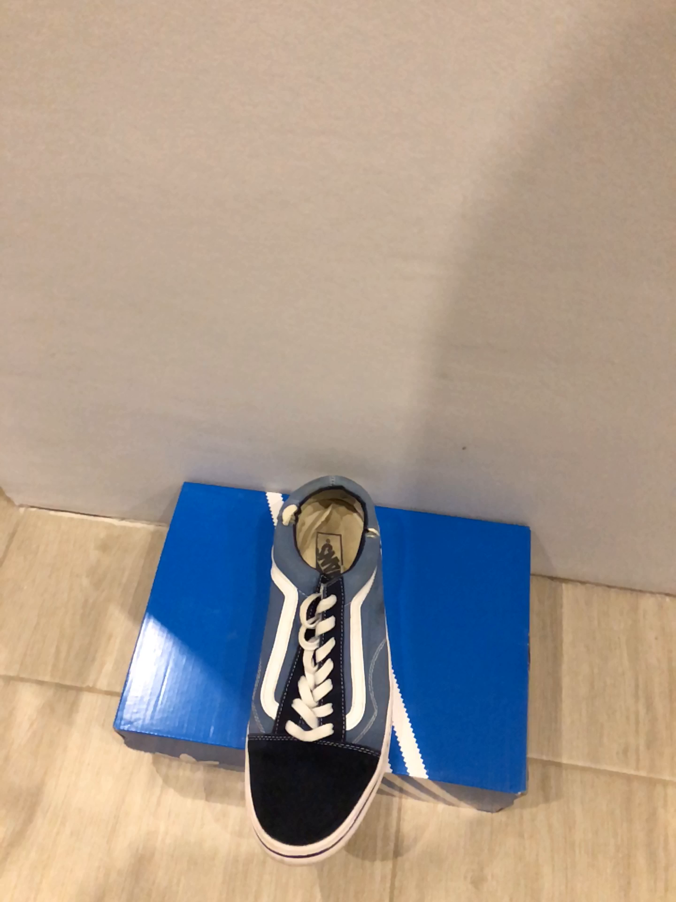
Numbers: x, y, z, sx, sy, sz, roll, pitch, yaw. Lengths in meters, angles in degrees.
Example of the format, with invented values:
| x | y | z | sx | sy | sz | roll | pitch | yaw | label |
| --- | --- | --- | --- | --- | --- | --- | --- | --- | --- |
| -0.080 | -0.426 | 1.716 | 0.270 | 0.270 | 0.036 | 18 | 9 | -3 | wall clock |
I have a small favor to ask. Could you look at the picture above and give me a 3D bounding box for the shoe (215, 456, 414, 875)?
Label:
| x | y | z | sx | sy | sz | roll | pitch | yaw | label |
| --- | --- | --- | --- | --- | --- | --- | --- | --- | --- |
| -0.006 | 0.148 | 0.552 | 0.110 | 0.080 | 0.281 | 4 | 58 | 3 | shoe |
